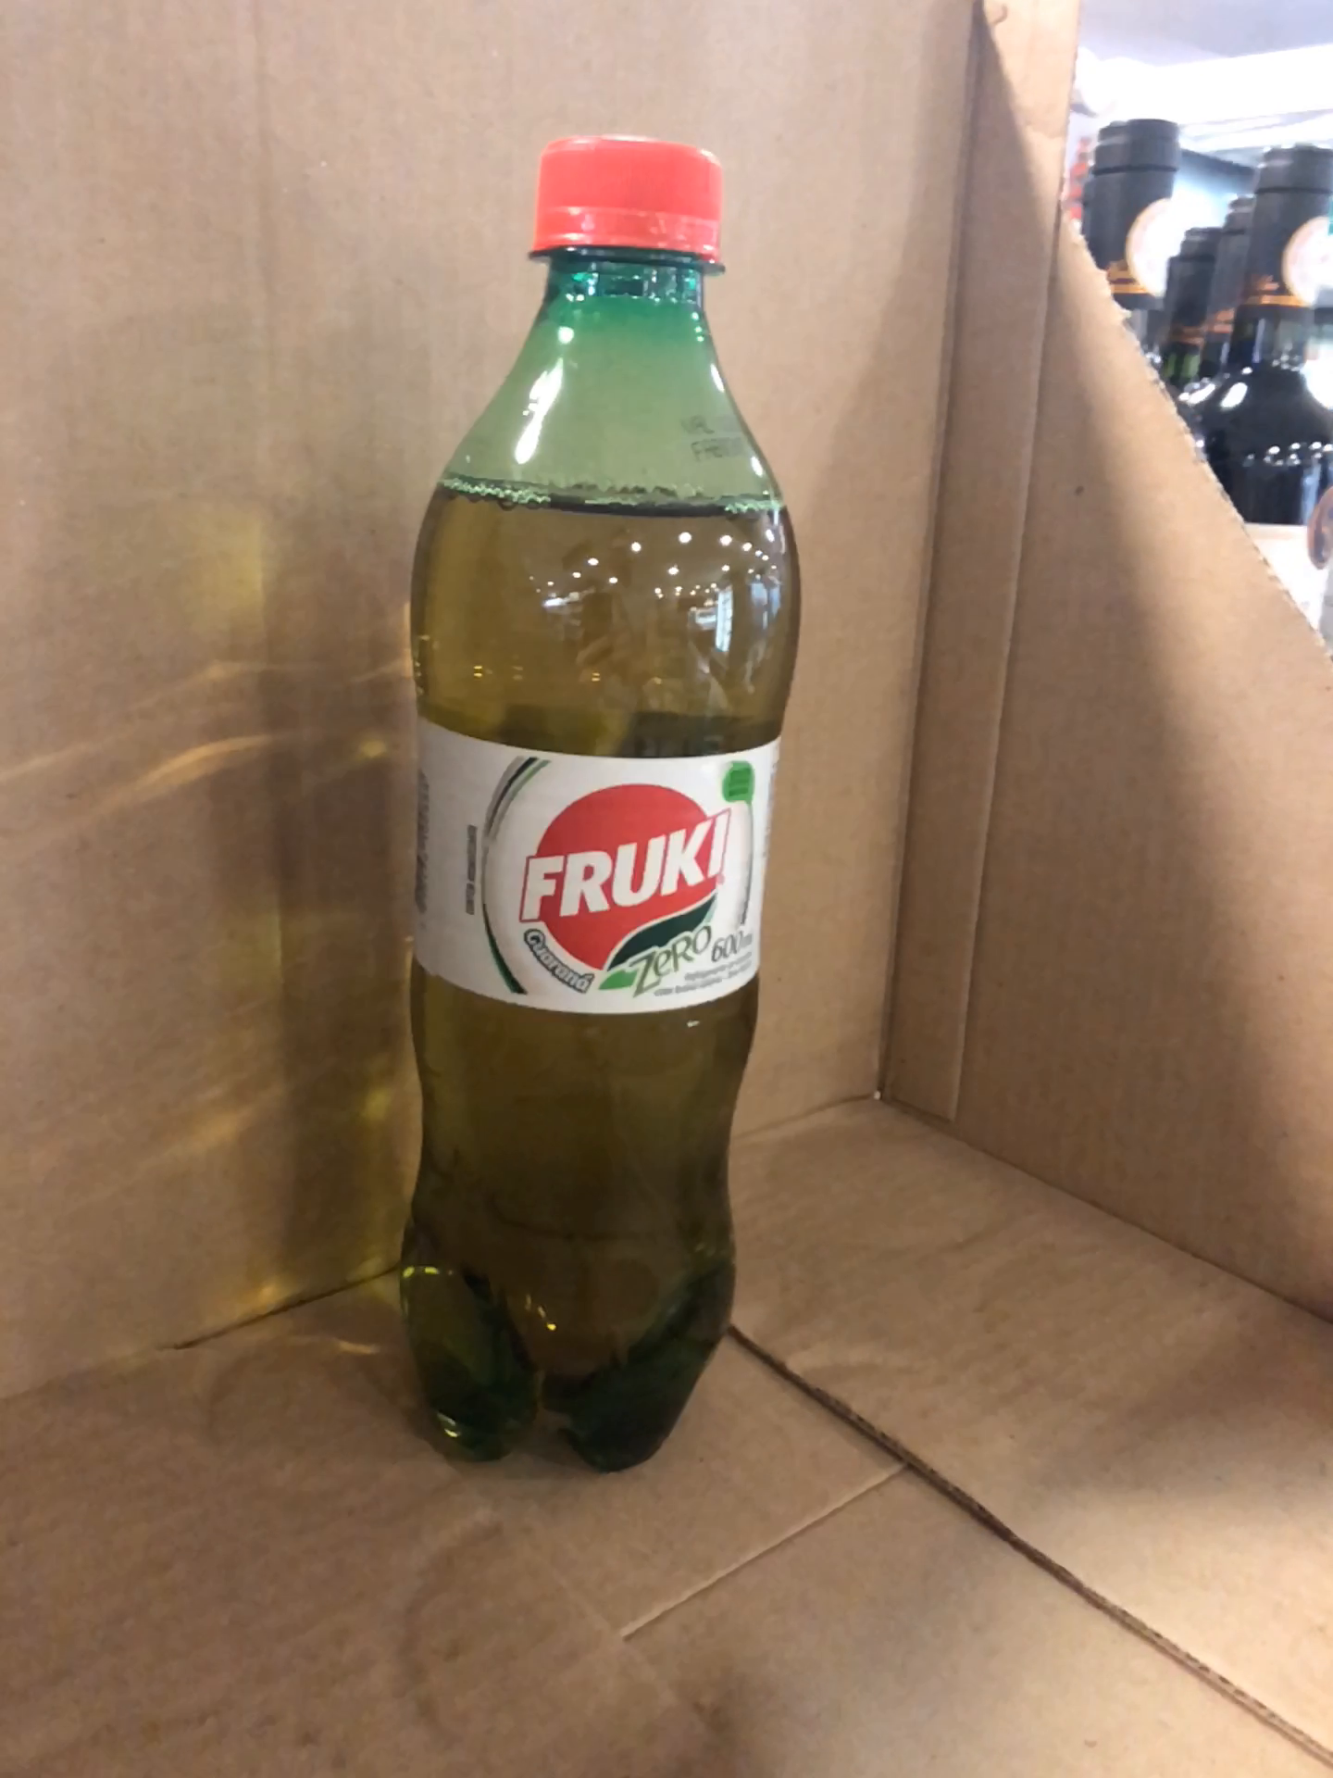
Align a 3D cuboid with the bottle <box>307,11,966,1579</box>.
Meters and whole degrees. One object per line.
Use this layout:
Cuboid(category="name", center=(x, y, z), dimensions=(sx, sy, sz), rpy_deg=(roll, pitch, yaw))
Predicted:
Cuboid(category="bottle", center=(-0.016, -0.011, 0.271), dimensions=(0.080, 0.239, 0.080), rpy_deg=(3, 17, -1))
